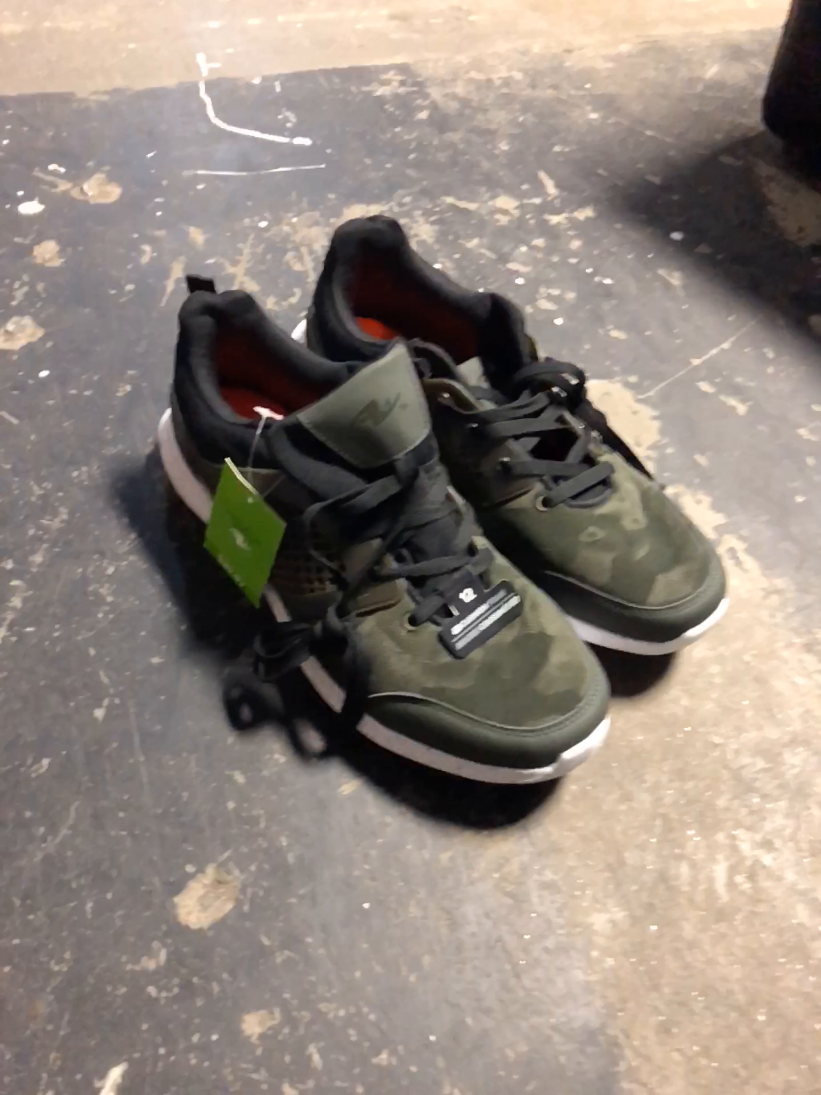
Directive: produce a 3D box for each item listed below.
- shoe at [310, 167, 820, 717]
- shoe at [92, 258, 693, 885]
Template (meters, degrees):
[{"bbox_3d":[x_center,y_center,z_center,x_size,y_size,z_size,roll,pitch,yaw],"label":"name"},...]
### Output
[{"bbox_3d":[0.071,-0.065,0.491,0.110,0.129,0.271,-33,64,-25],"label":"shoe"},{"bbox_3d":[-0.025,0.000,0.462,0.110,0.119,0.301,-33,64,-25],"label":"shoe"}]
